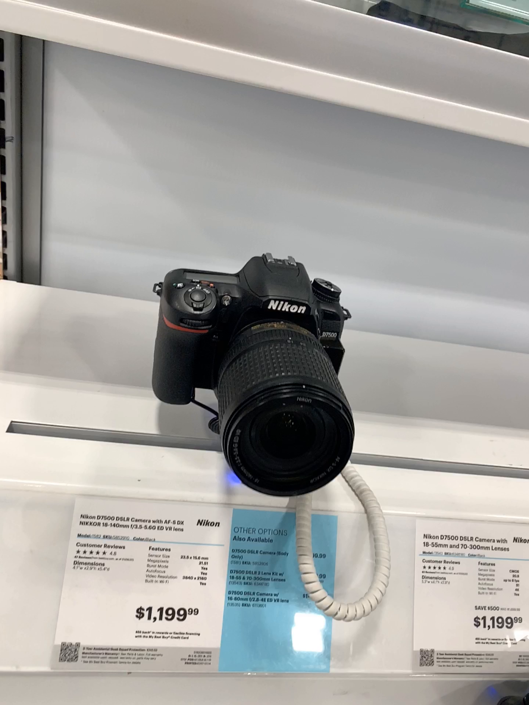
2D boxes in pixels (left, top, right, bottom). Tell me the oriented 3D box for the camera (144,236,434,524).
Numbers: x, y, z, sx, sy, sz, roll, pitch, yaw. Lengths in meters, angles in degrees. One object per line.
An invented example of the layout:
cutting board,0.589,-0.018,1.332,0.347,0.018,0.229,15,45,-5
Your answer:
camera,-0.003,0.007,0.351,0.131,0.107,0.173,5,24,-13
